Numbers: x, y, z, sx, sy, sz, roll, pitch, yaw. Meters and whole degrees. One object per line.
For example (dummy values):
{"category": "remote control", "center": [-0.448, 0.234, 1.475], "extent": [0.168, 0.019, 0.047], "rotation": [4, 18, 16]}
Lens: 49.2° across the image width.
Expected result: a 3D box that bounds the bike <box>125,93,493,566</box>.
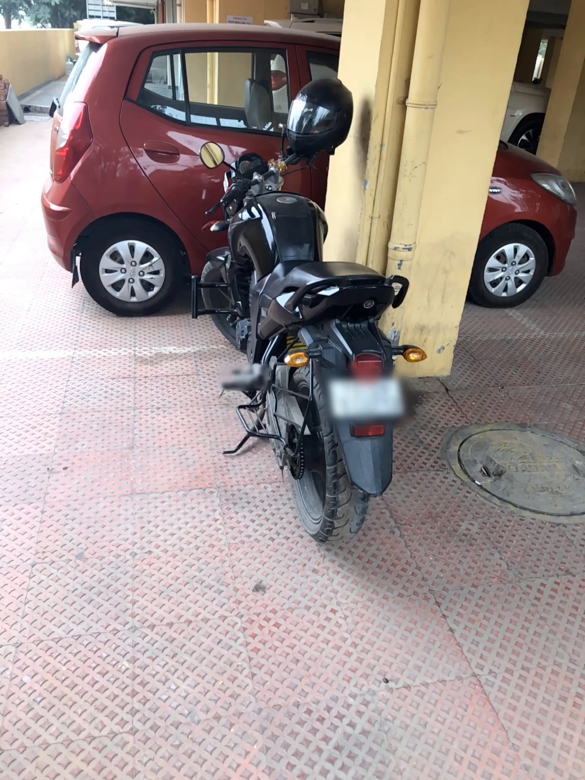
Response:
{"category": "bike", "center": [-0.163, -0.416, 2.454], "extent": [0.610, 1.052, 1.807], "rotation": [-7, 32, -20]}
